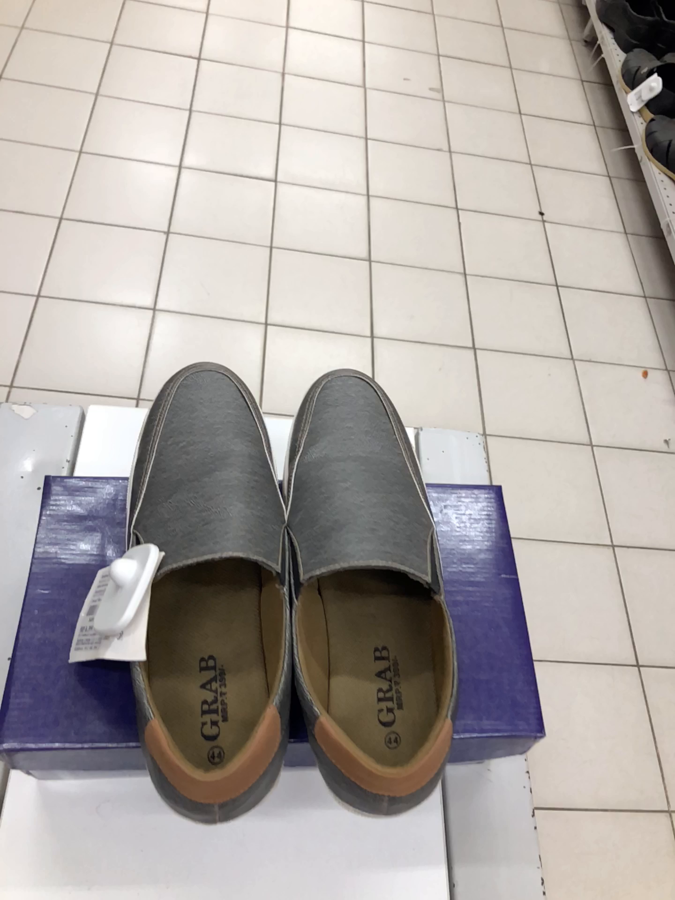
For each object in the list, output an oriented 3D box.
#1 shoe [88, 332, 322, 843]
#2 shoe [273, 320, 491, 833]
[{"bbox_3d":[-0.077,0.069,0.437,0.100,0.099,0.271,0,58,-10],"label":"shoe"},{"bbox_3d":[0.015,0.075,0.497,0.100,0.119,0.312,3,58,-8],"label":"shoe"}]
